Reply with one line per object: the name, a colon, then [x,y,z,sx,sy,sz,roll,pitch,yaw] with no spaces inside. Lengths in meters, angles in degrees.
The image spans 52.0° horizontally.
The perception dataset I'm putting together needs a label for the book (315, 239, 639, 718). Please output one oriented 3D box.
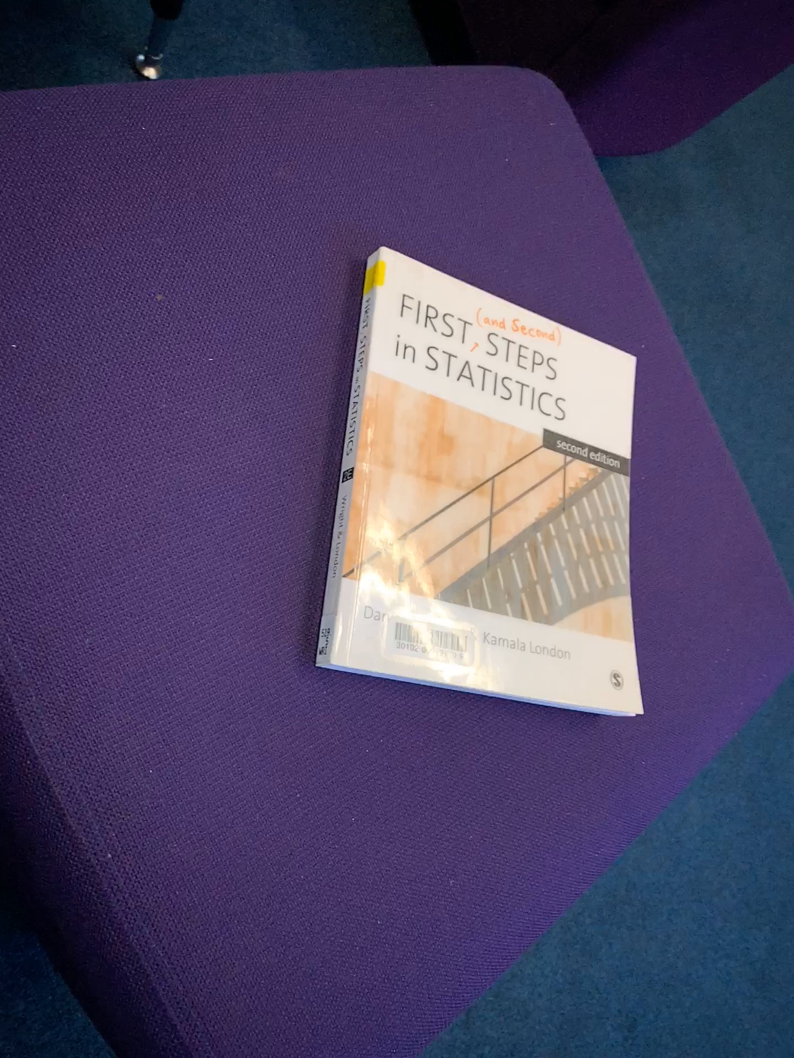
book: [0.058,-0.024,0.454,0.189,0.022,0.229,16,69,-27]
